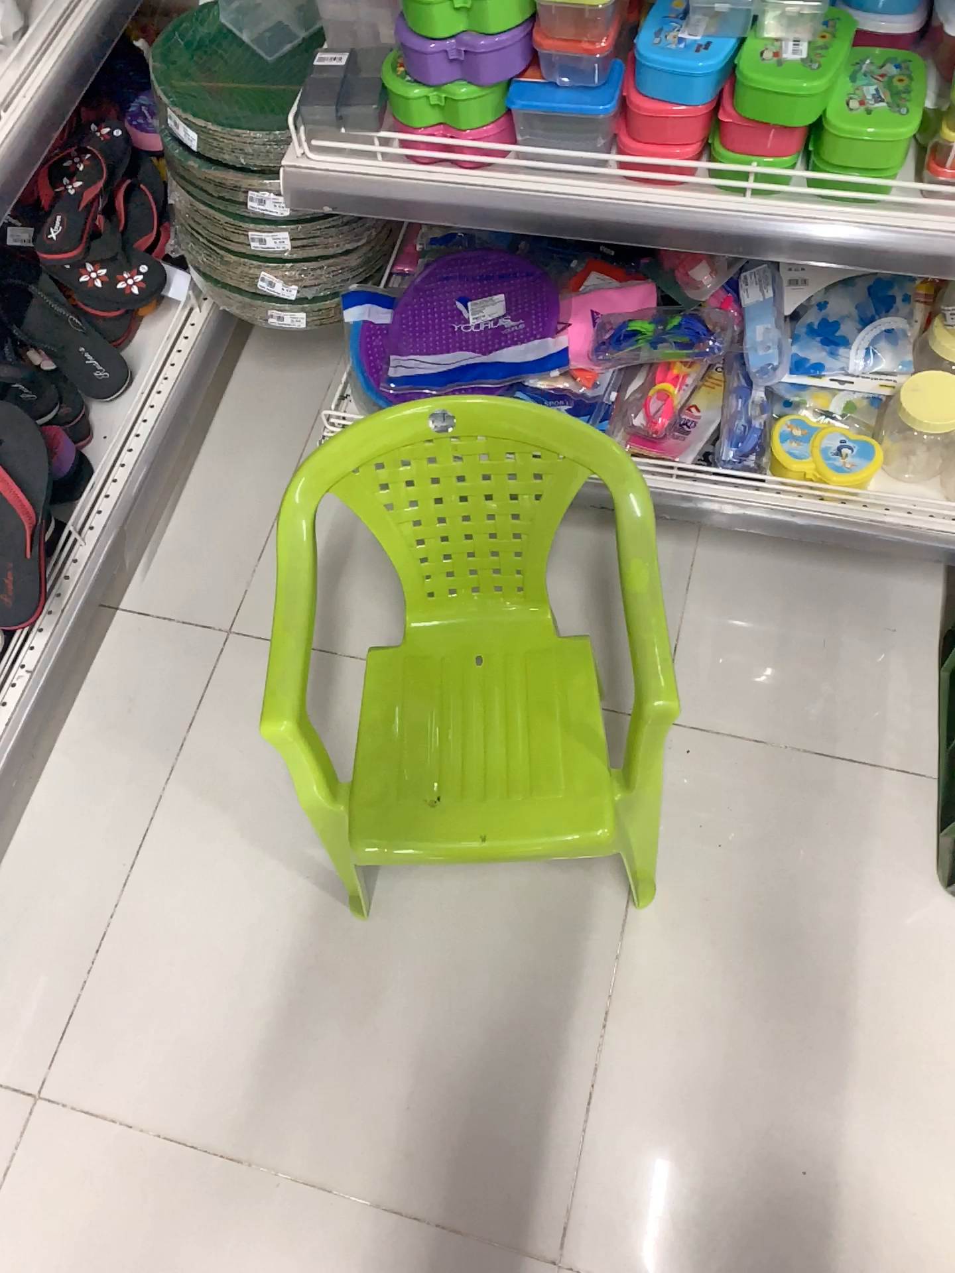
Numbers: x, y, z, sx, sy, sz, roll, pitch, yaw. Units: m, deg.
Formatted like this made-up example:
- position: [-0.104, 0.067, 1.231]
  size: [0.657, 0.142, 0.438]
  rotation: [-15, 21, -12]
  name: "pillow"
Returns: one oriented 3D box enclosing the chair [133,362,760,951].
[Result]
- position: [-0.001, 0.063, 0.889]
  size: [0.390, 0.469, 0.360]
  rotation: [-2, 63, 5]
  name: "chair"
